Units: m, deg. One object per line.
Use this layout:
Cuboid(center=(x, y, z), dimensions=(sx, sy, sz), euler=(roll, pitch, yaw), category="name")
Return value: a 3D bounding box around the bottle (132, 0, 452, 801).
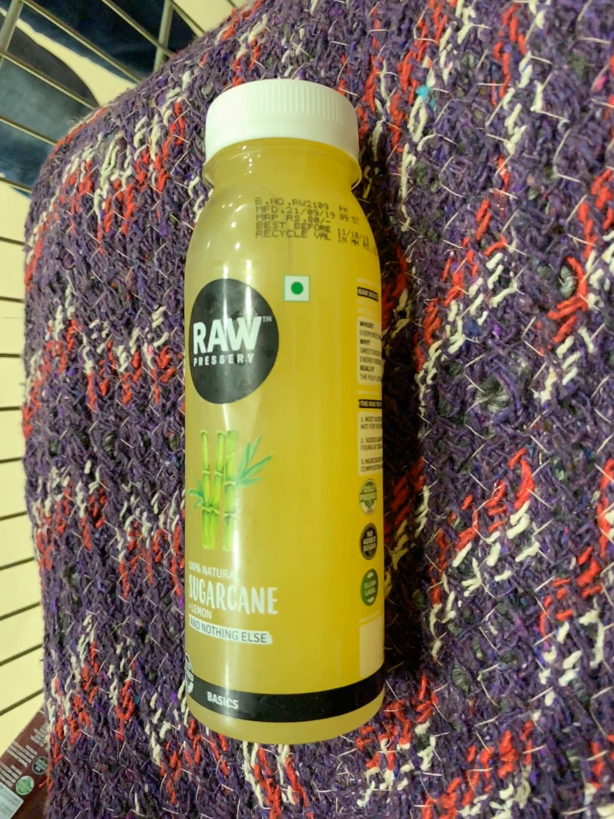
Cuboid(center=(-0.003, -0.006, 0.158), dimensions=(0.060, 0.050, 0.160), euler=(-1, 89, 34), category="bottle")
